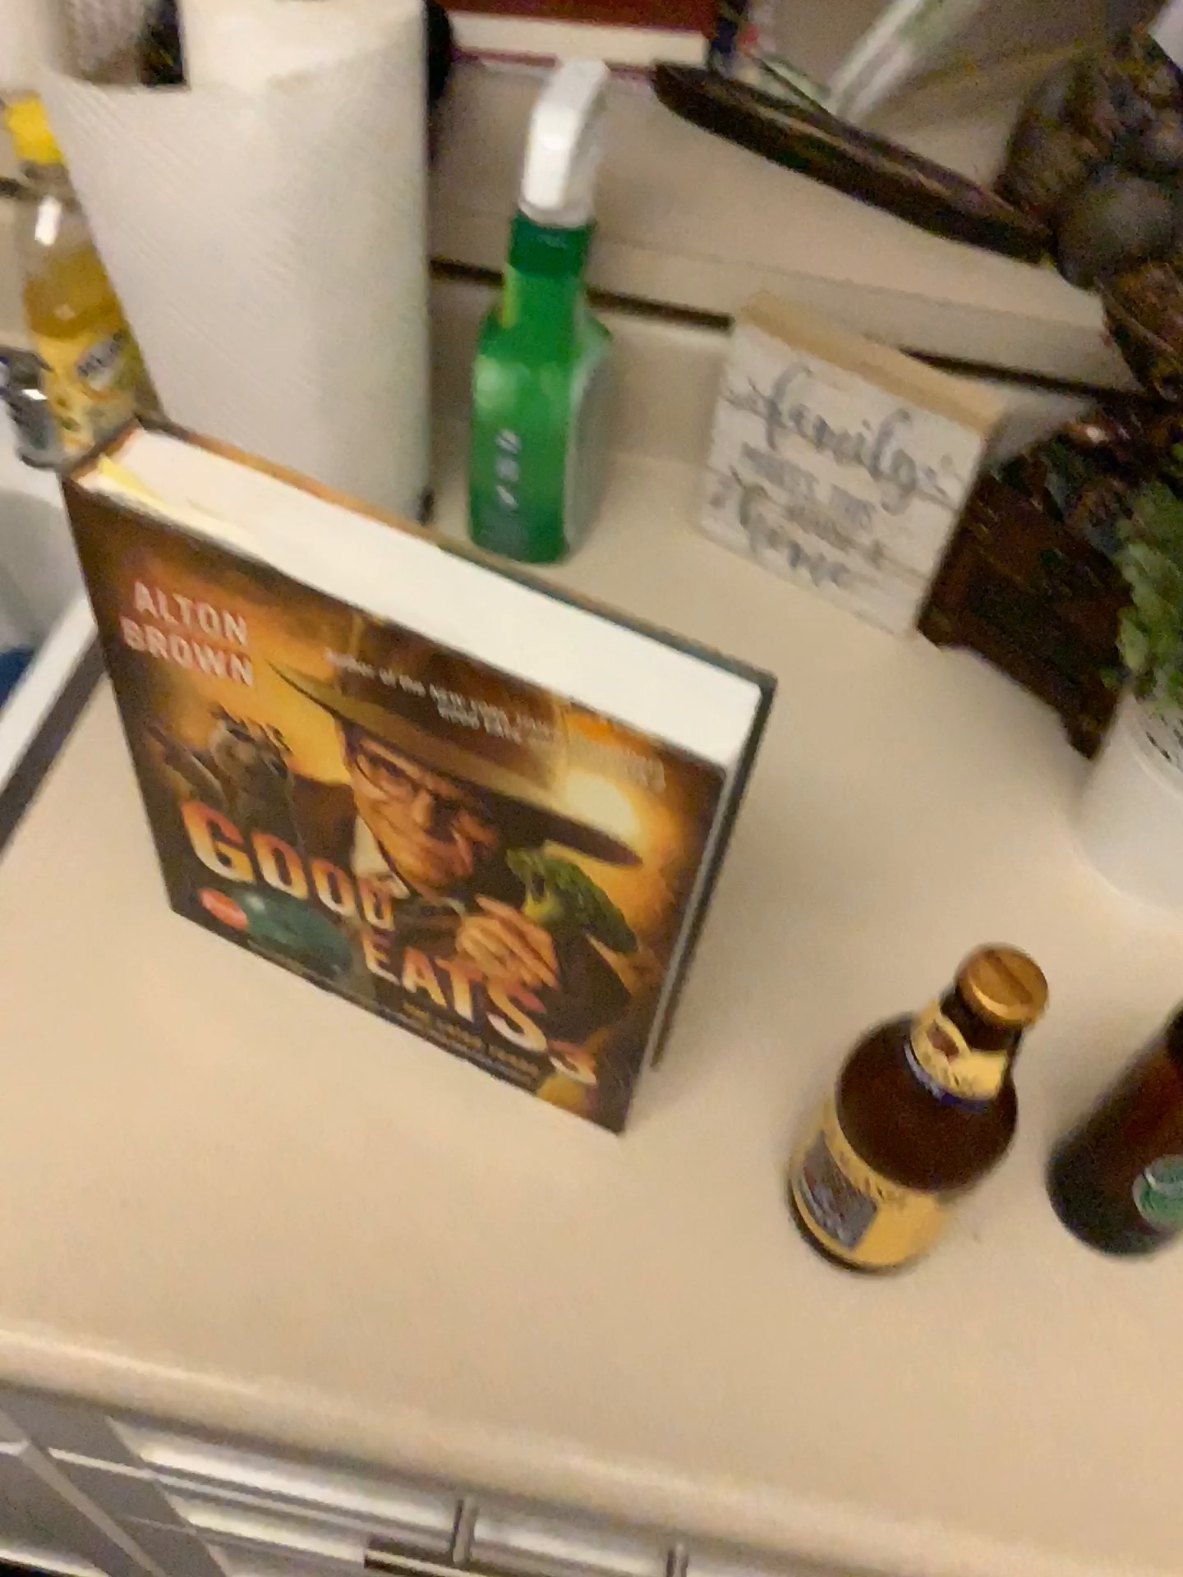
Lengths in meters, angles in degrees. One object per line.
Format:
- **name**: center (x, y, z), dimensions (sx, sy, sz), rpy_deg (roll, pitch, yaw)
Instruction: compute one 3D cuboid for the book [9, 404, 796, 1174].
- **book**: center (-0.072, 0.017, 0.488), dimensions (0.240, 0.250, 0.050), rpy_deg (24, 52, 12)
